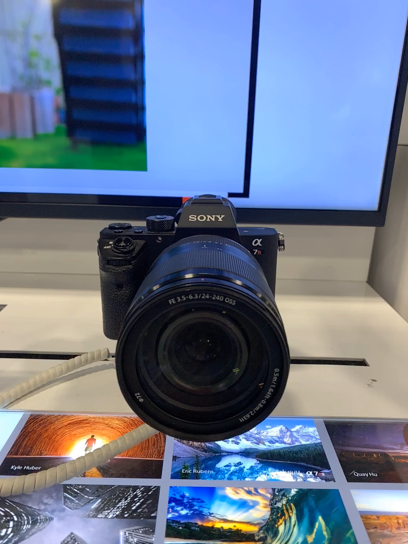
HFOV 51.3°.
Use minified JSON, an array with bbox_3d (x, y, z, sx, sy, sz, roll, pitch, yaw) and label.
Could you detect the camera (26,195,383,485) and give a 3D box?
[{"bbox_3d":[-0.004,0.015,0.253,0.128,0.091,0.185,-1,19,-4],"label":"camera"}]
